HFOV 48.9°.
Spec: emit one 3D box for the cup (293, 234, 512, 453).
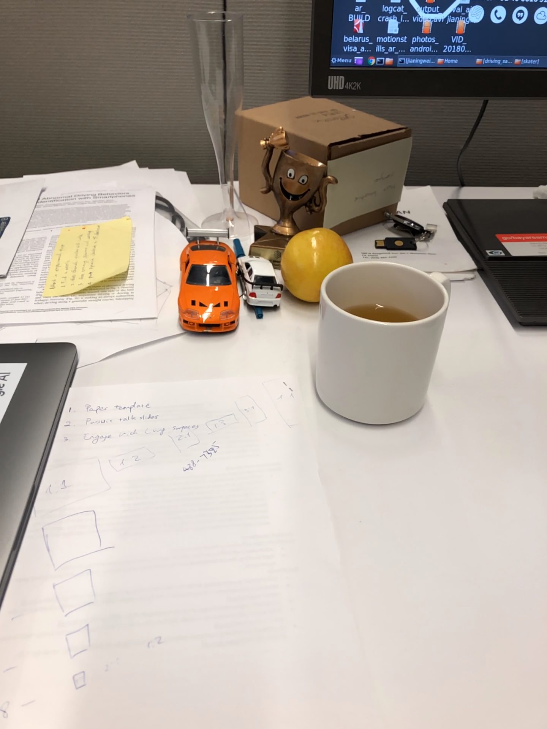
[{"bbox_3d":[0.085,-0.020,0.403,0.080,0.080,0.120,31,46,34],"label":"cup"}]
